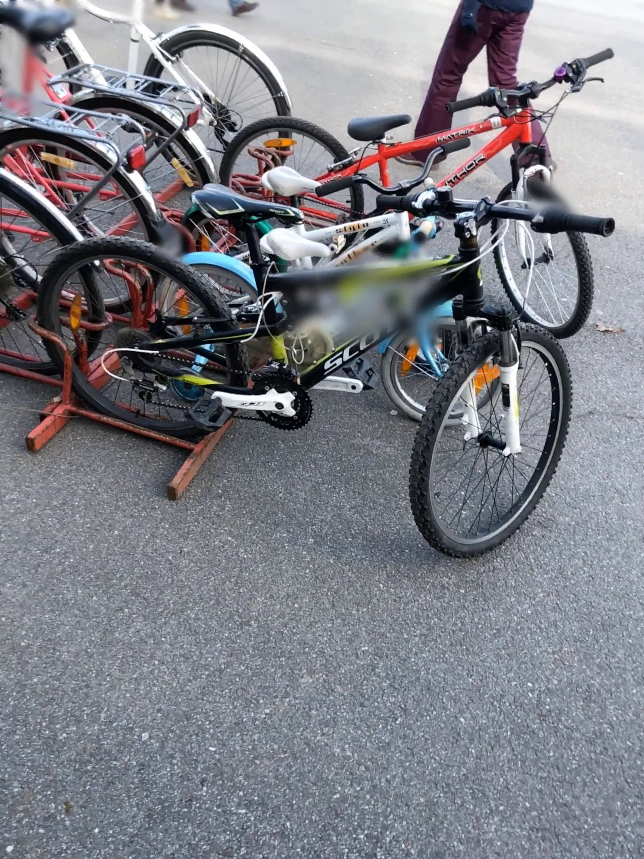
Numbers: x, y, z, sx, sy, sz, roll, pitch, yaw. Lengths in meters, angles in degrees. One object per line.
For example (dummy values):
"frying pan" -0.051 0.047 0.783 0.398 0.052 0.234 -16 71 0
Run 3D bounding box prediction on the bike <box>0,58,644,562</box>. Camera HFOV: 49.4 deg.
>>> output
"bike" -0.037 -0.278 1.709 1.372 0.900 0.531 10 37 3
